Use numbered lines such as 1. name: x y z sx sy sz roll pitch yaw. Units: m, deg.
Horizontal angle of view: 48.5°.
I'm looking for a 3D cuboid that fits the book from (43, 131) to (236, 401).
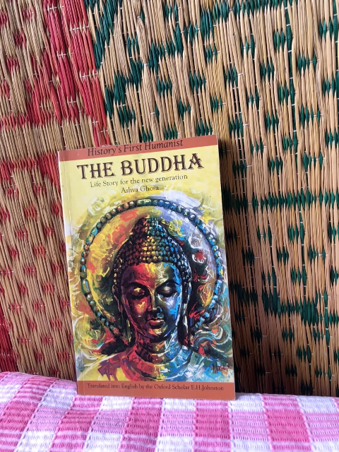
1. book: -0.025 0.035 0.317 0.146 0.207 0.030 -4 1 12
